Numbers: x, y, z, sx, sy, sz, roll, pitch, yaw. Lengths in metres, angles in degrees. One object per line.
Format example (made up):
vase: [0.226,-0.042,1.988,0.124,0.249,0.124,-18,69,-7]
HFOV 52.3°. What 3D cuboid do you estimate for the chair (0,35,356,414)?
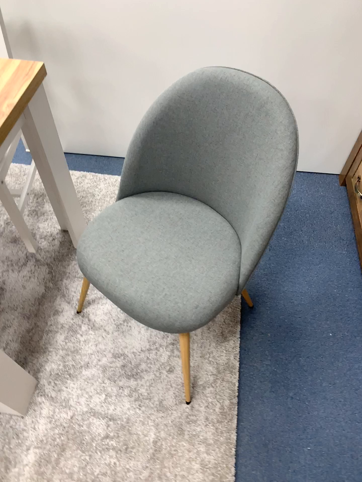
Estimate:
chair: [-0.013,-0.012,1.037,0.531,0.738,0.571,31,59,20]
